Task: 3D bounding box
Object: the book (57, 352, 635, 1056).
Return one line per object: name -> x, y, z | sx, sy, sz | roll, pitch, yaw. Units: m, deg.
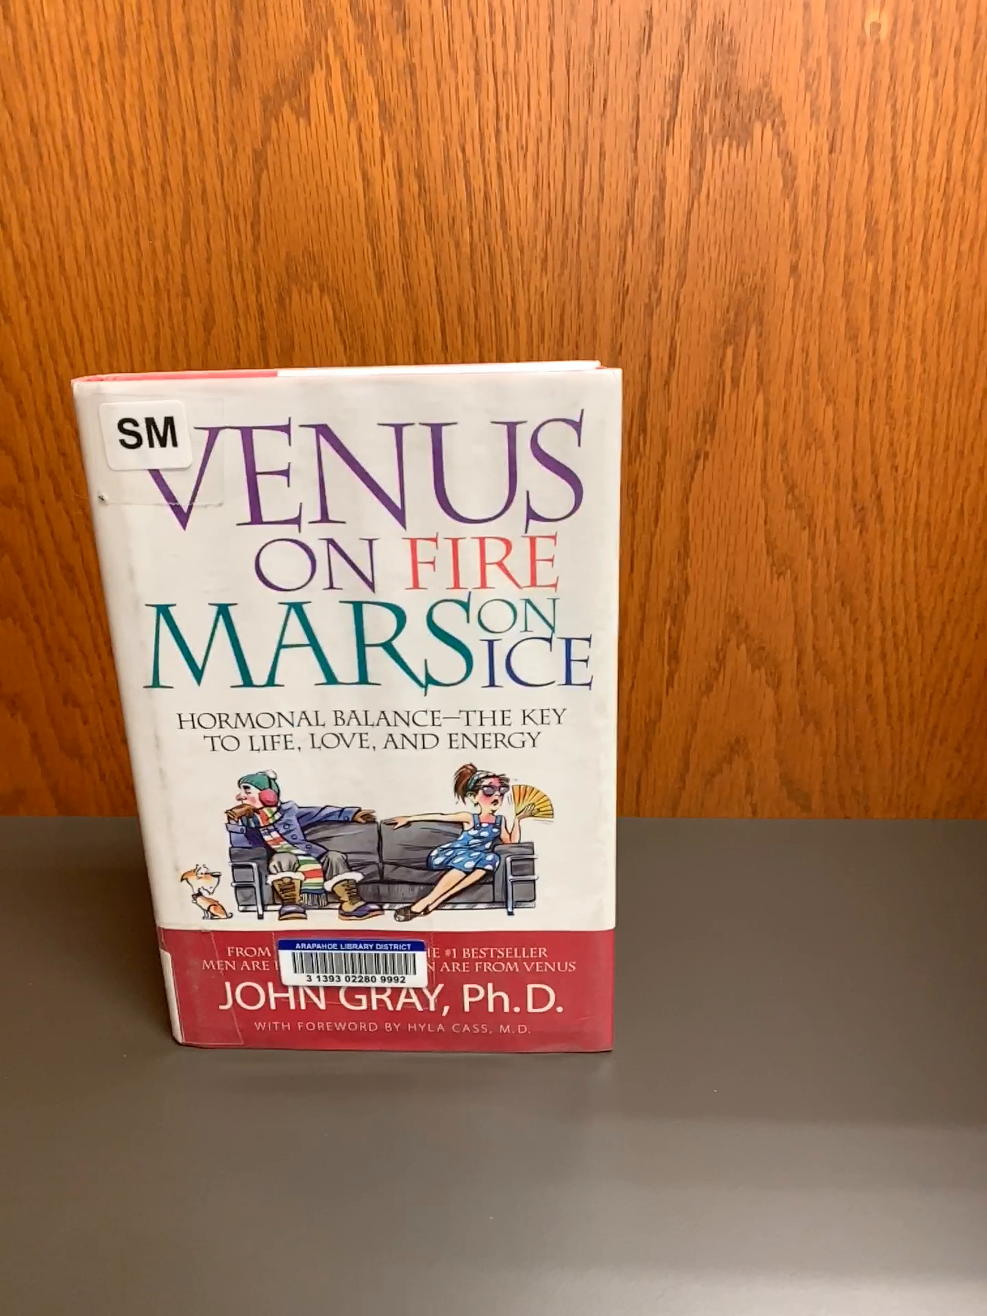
book -> -0.036, 0.022, 0.319 | 0.153, 0.220, 0.033 | -1, 19, 3
